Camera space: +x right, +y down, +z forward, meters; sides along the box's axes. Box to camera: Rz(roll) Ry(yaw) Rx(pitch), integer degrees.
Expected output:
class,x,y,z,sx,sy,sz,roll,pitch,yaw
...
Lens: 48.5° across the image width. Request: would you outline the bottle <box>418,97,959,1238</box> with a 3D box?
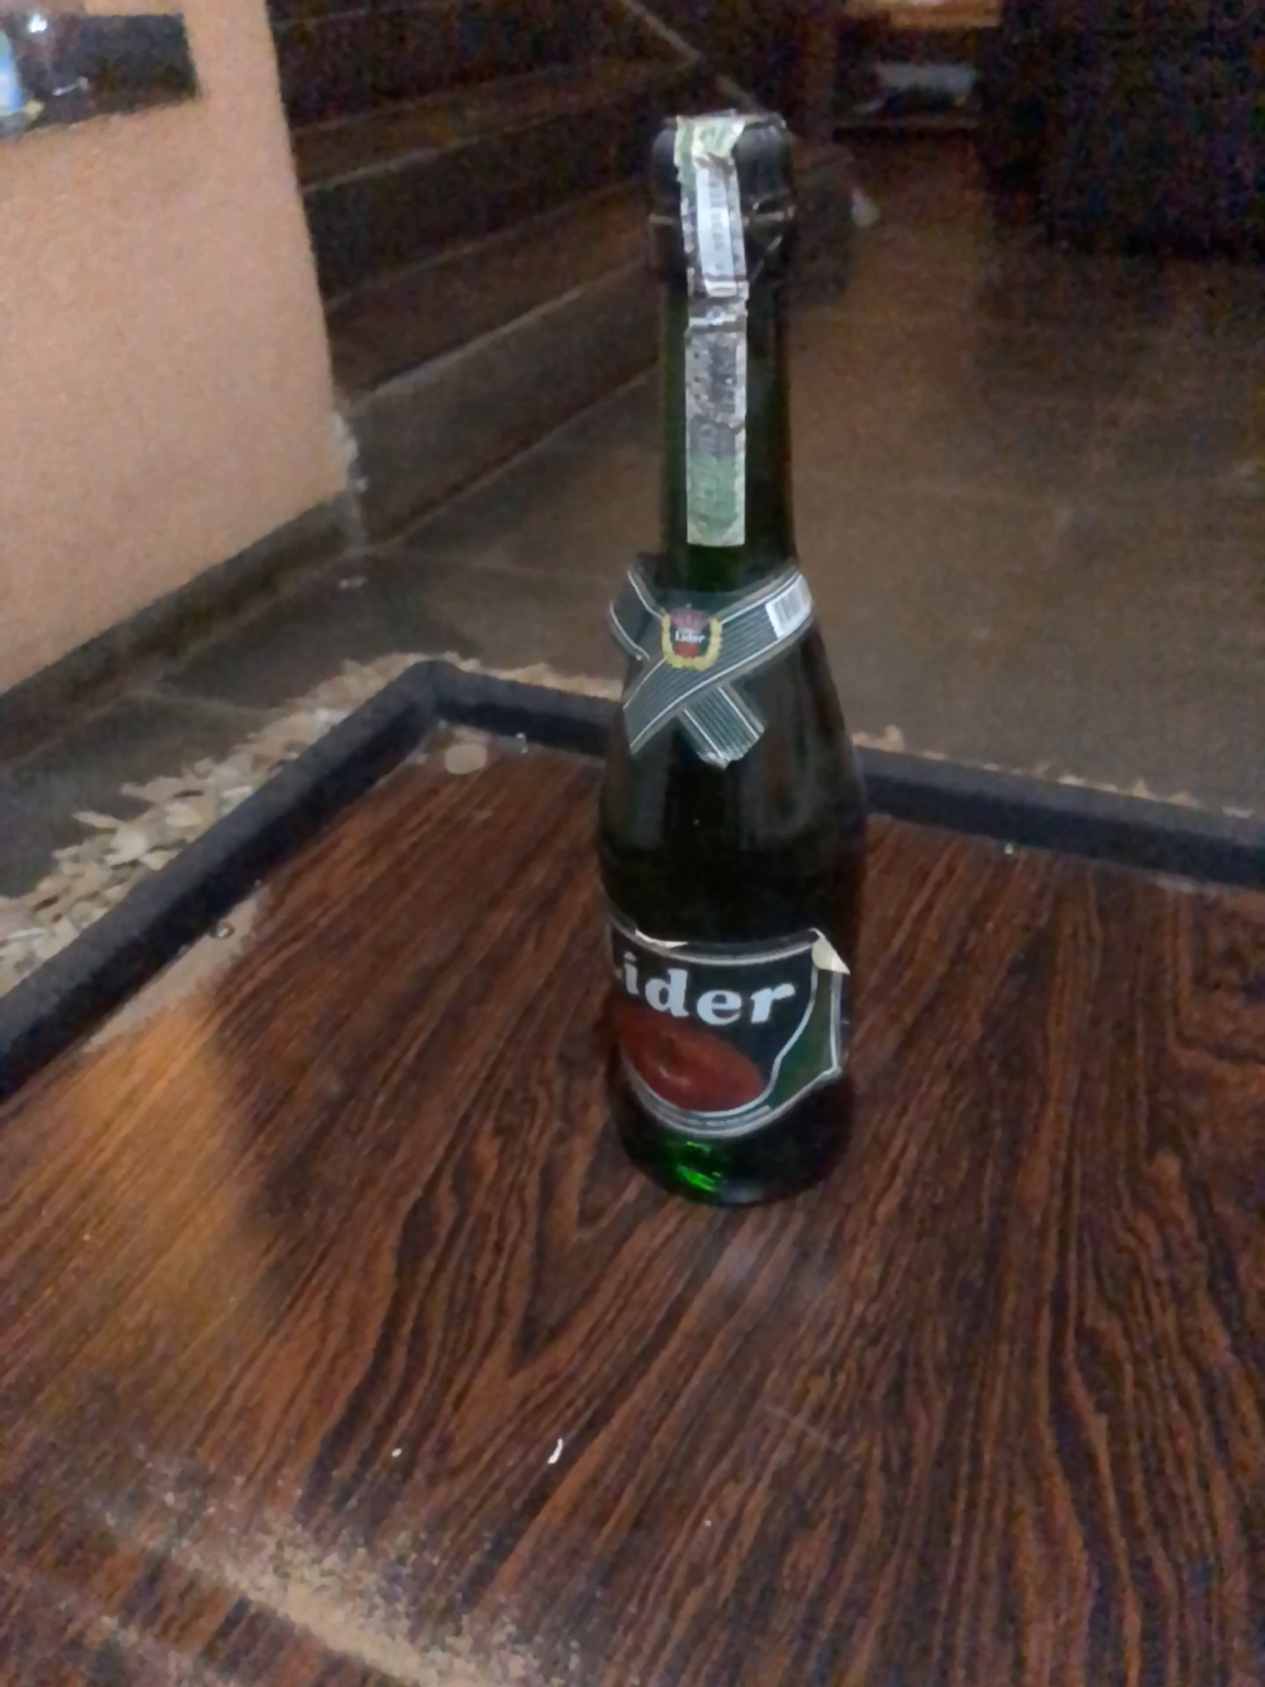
class,x,y,z,sx,sy,sz,roll,pitch,yaw
bottle,0.021,-0.035,0.381,0.090,0.288,0.081,15,37,25
